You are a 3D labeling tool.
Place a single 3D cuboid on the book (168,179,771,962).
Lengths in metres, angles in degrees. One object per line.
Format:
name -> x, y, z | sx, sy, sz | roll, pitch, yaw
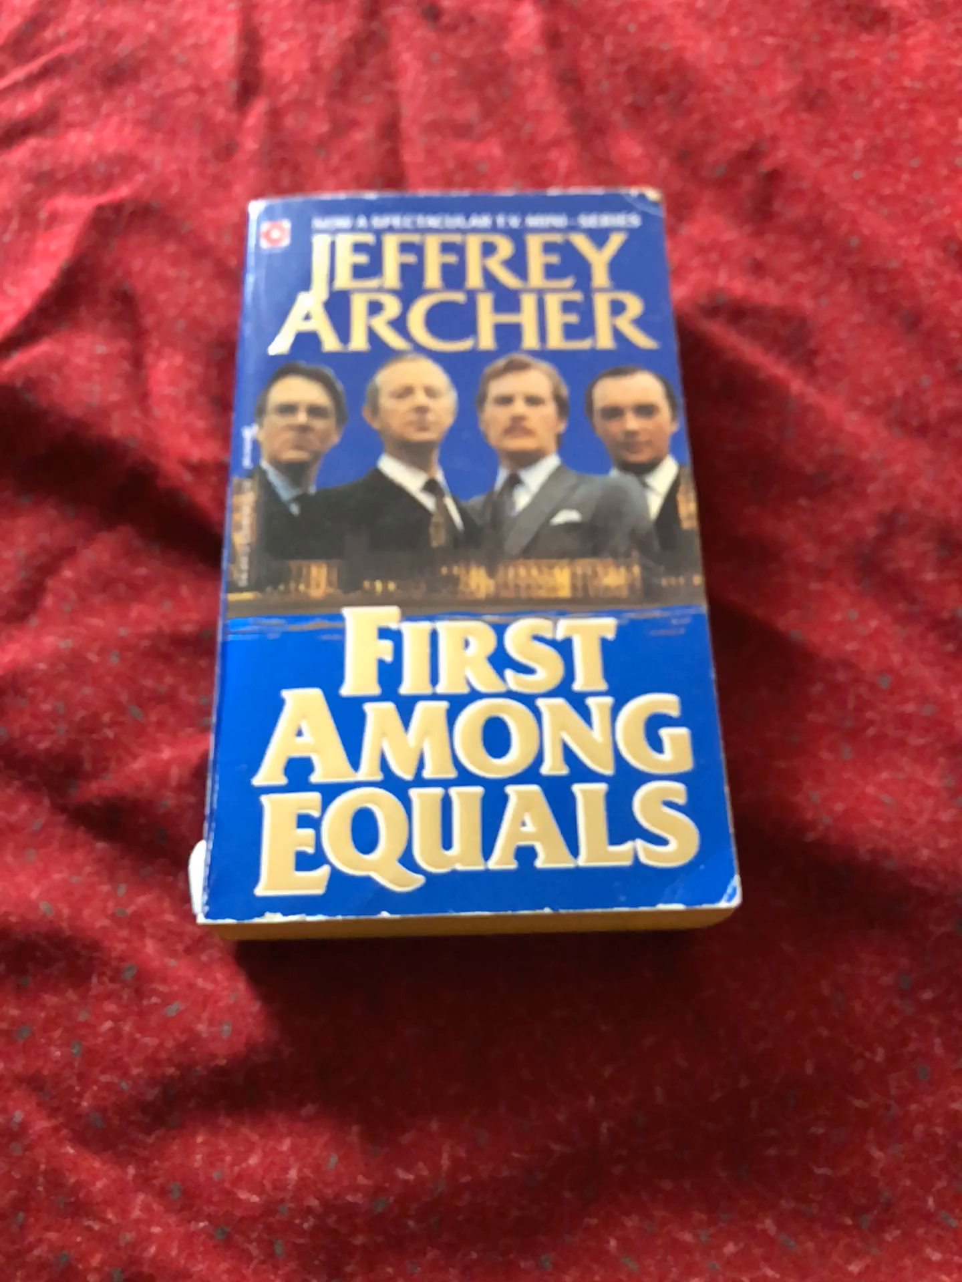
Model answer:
book -> -0.004, -0.022, 0.249 | 0.110, 0.038, 0.177 | -1, 69, -2
